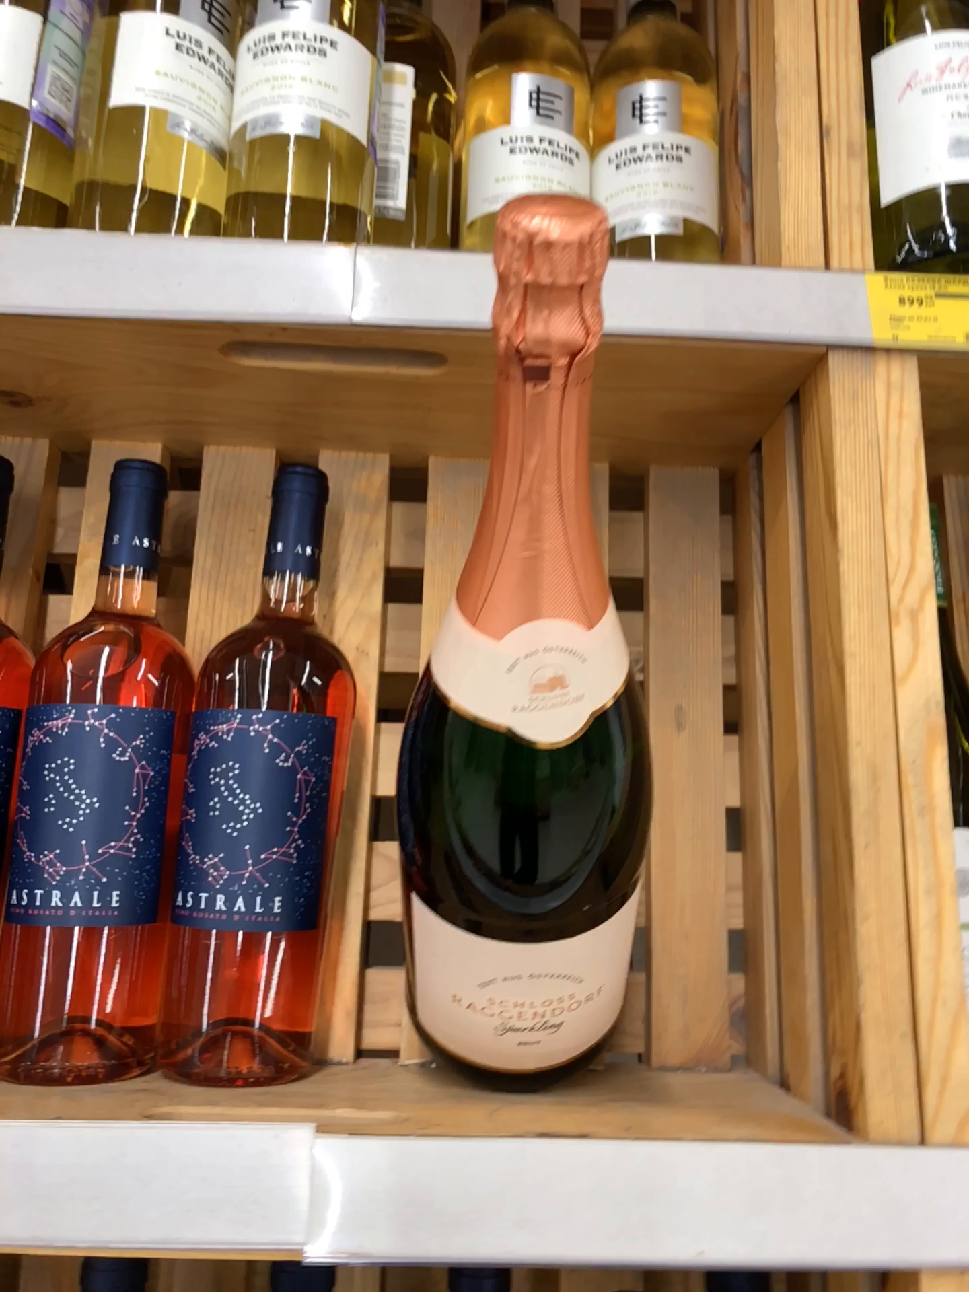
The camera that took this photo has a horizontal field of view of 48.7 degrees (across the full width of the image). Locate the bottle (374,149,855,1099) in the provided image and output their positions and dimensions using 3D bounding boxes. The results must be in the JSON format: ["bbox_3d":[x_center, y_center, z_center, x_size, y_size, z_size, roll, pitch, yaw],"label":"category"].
[{"bbox_3d":[0.020,0.017,0.411,0.120,0.358,0.111,3,34,-2],"label":"bottle"}]
